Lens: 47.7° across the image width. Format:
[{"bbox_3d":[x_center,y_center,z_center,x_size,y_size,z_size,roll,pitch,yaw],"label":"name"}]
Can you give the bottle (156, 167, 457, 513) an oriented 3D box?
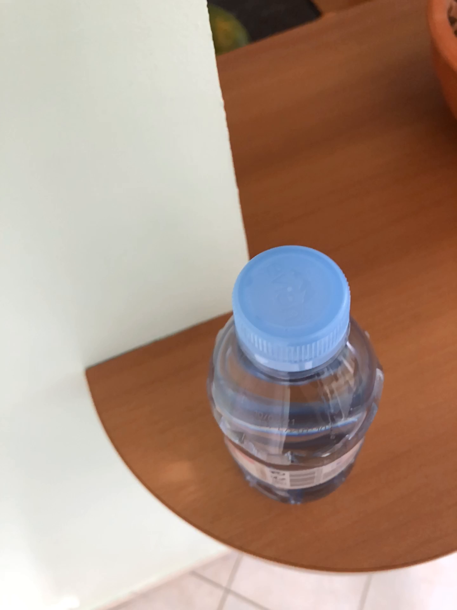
[{"bbox_3d":[0.027,0.032,0.203,0.070,0.160,0.070,-3,60,6],"label":"bottle"}]
